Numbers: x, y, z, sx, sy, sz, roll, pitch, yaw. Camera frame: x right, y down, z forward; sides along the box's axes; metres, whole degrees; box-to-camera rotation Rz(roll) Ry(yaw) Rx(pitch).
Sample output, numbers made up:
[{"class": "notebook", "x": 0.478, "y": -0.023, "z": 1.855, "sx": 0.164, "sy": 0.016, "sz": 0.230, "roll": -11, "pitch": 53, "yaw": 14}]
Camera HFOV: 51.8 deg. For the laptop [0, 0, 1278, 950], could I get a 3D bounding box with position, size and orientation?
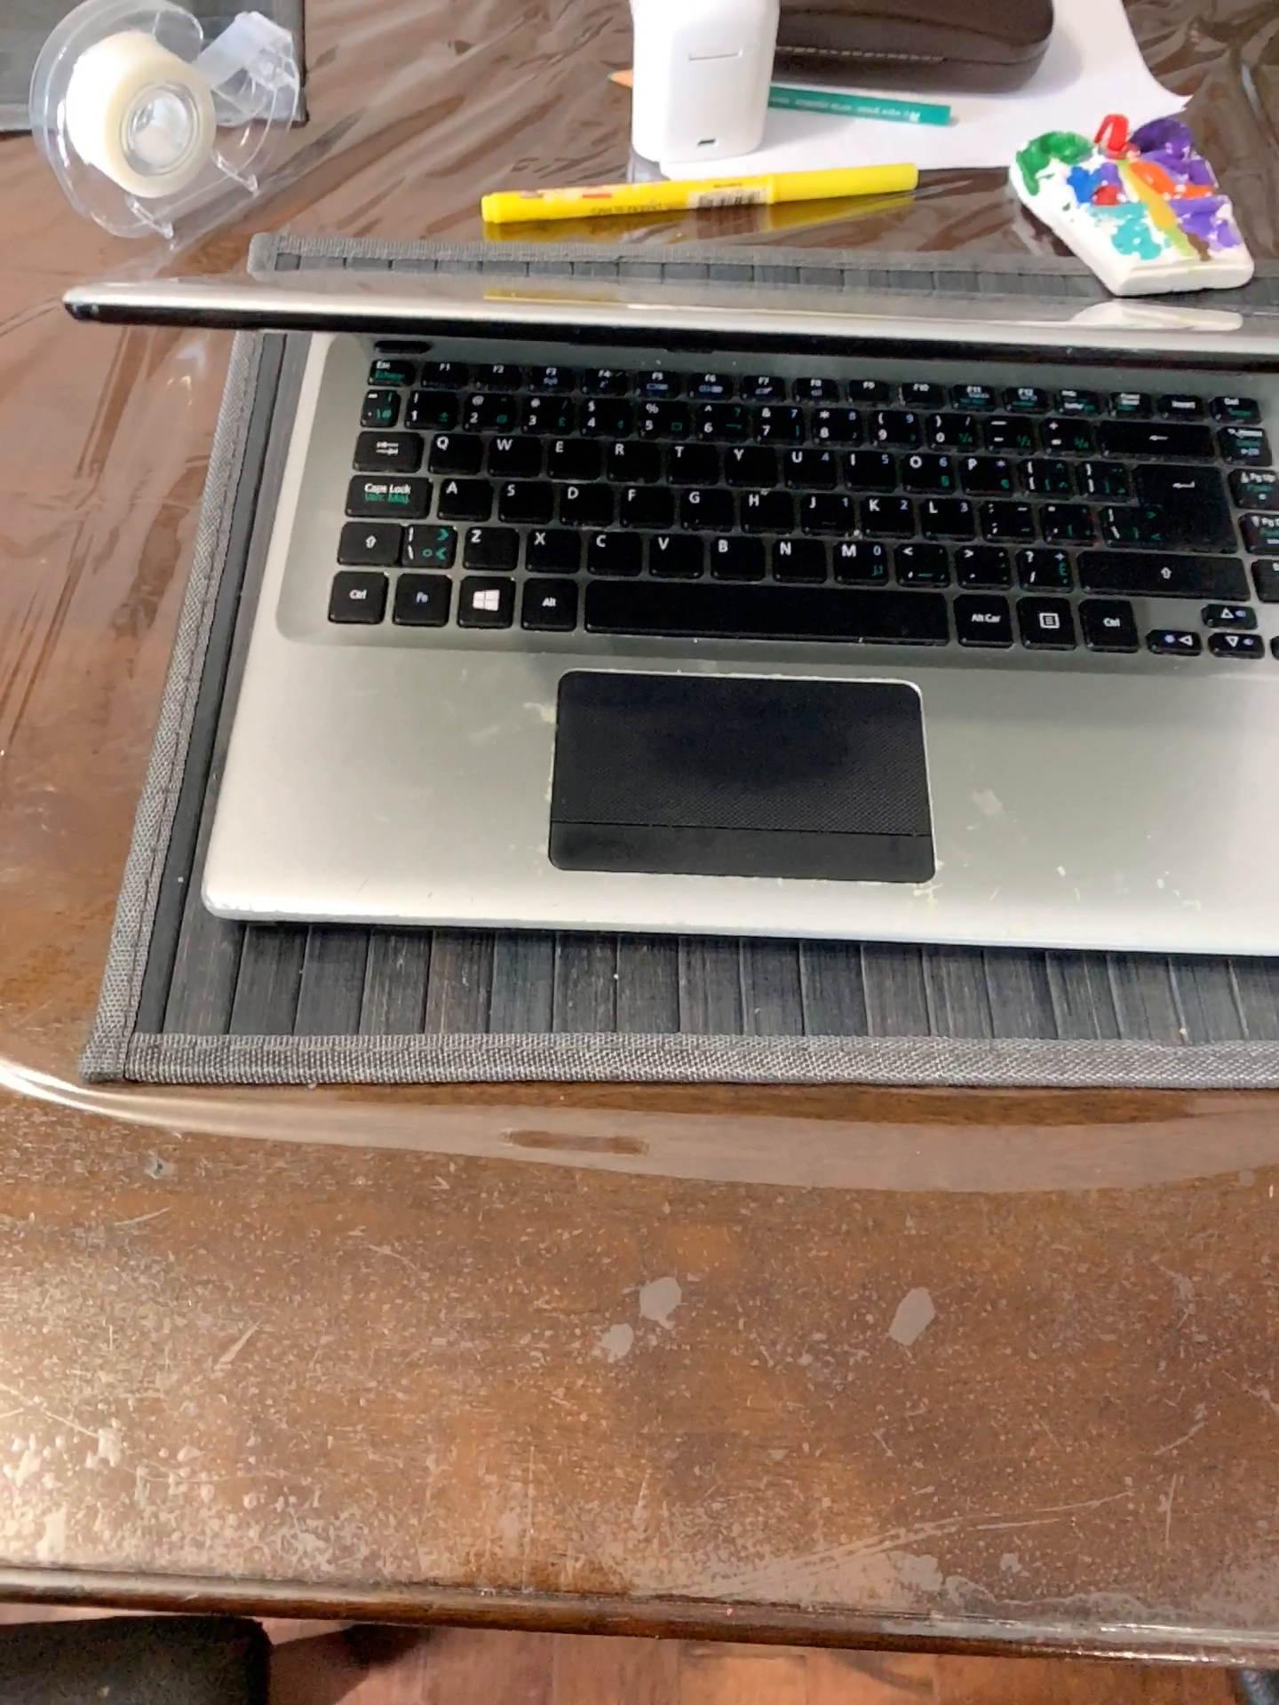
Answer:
[{"class": "laptop", "x": 0.060, "y": -0.113, "z": 0.344, "sx": 0.343, "sy": 0.141, "sz": 0.225, "roll": 2, "pitch": 63, "yaw": -2}]
